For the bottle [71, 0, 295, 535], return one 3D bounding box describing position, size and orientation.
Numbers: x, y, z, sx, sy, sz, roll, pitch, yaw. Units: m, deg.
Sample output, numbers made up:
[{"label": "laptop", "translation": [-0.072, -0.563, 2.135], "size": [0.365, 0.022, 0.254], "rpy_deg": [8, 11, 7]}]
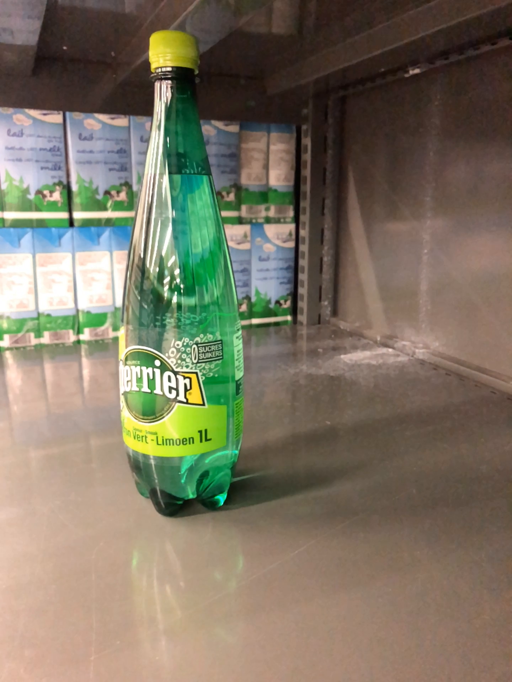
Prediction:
[{"label": "bottle", "translation": [-0.044, -0.044, 0.376], "size": [0.100, 0.299, 0.090], "rpy_deg": [11, 17, 39]}]
